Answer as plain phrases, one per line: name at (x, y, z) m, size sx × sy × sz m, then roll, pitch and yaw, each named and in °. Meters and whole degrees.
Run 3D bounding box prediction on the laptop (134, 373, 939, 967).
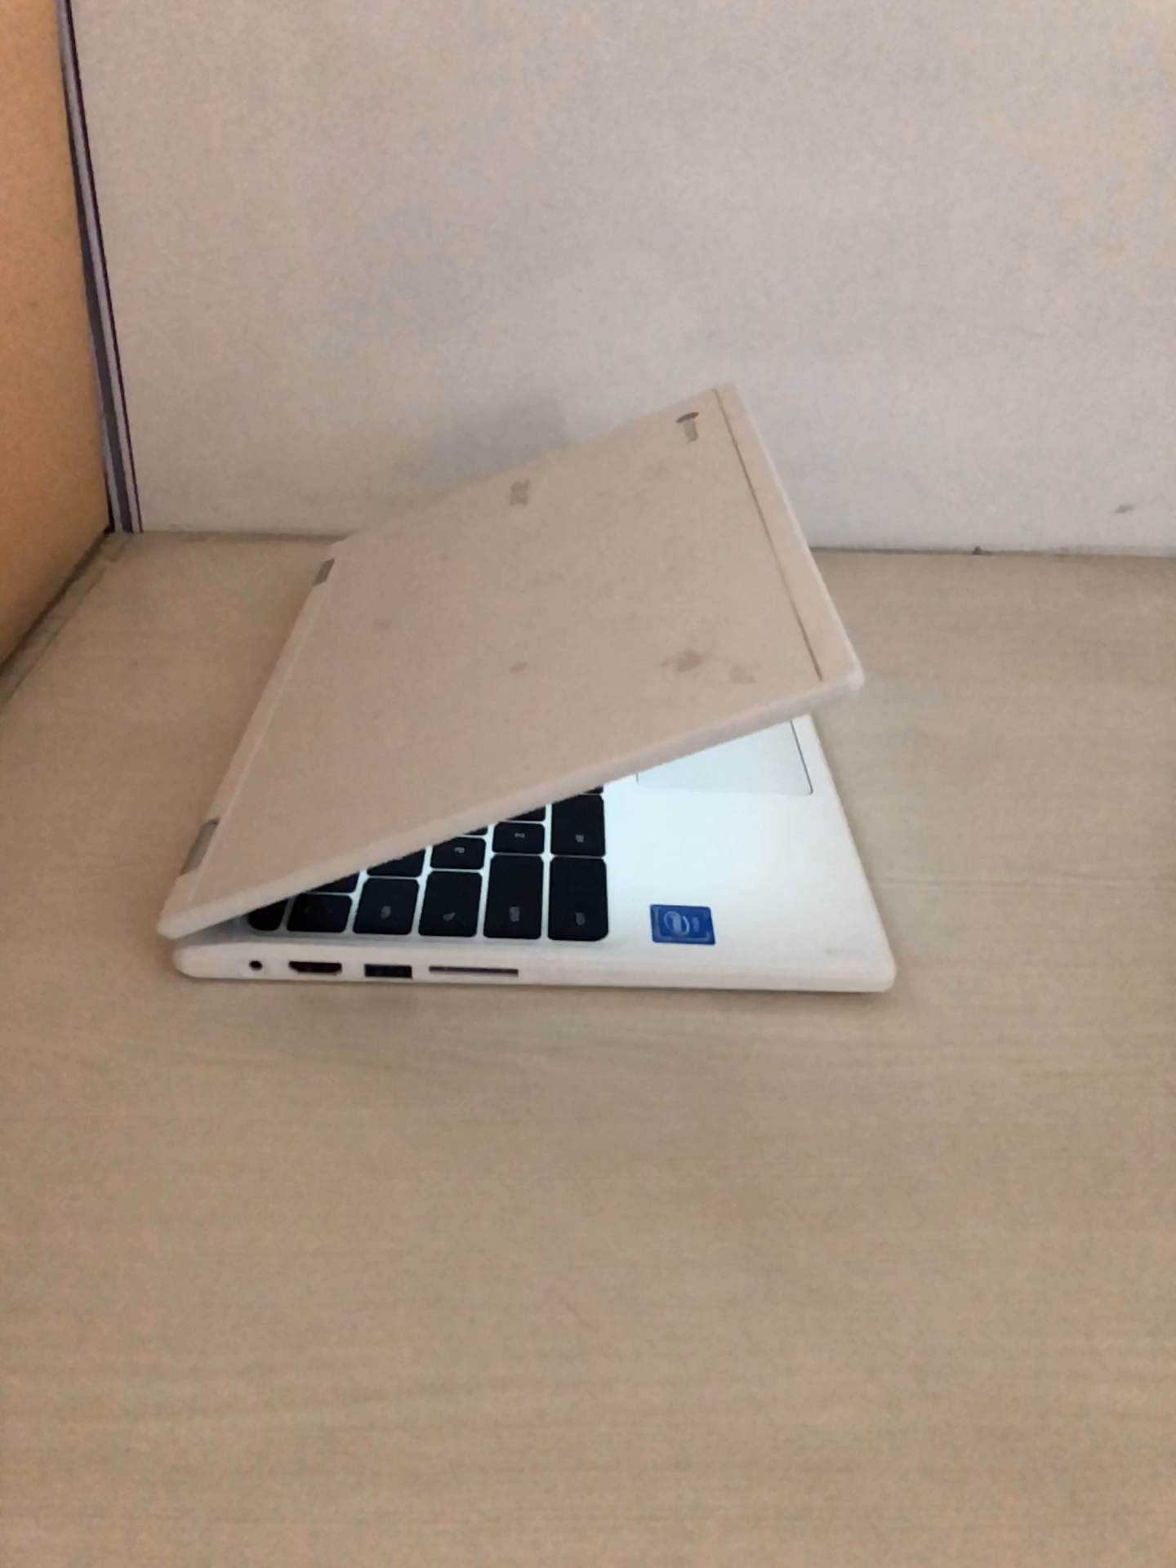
laptop at (-0.015, -0.063, 0.466) m, size 0.200 × 0.092 × 0.285 m, roll 1°, pitch 31°, yaw -1°
